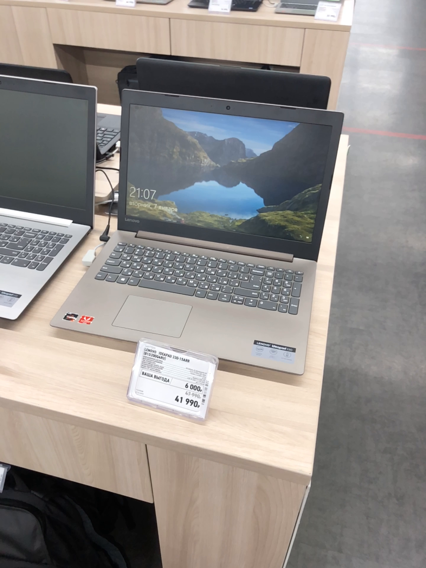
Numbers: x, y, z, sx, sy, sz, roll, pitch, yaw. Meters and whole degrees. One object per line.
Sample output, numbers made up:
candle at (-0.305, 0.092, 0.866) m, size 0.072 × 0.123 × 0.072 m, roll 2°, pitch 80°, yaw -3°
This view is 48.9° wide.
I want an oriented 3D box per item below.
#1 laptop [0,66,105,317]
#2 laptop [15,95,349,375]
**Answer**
laptop at (-0.405, -0.169, 0.747) m, size 0.343 × 0.207 × 0.324 m, roll 10°, pitch 42°, yaw 9°
laptop at (-0.010, -0.097, 0.679) m, size 0.350 × 0.209 × 0.330 m, roll 10°, pitch 42°, yaw 11°
